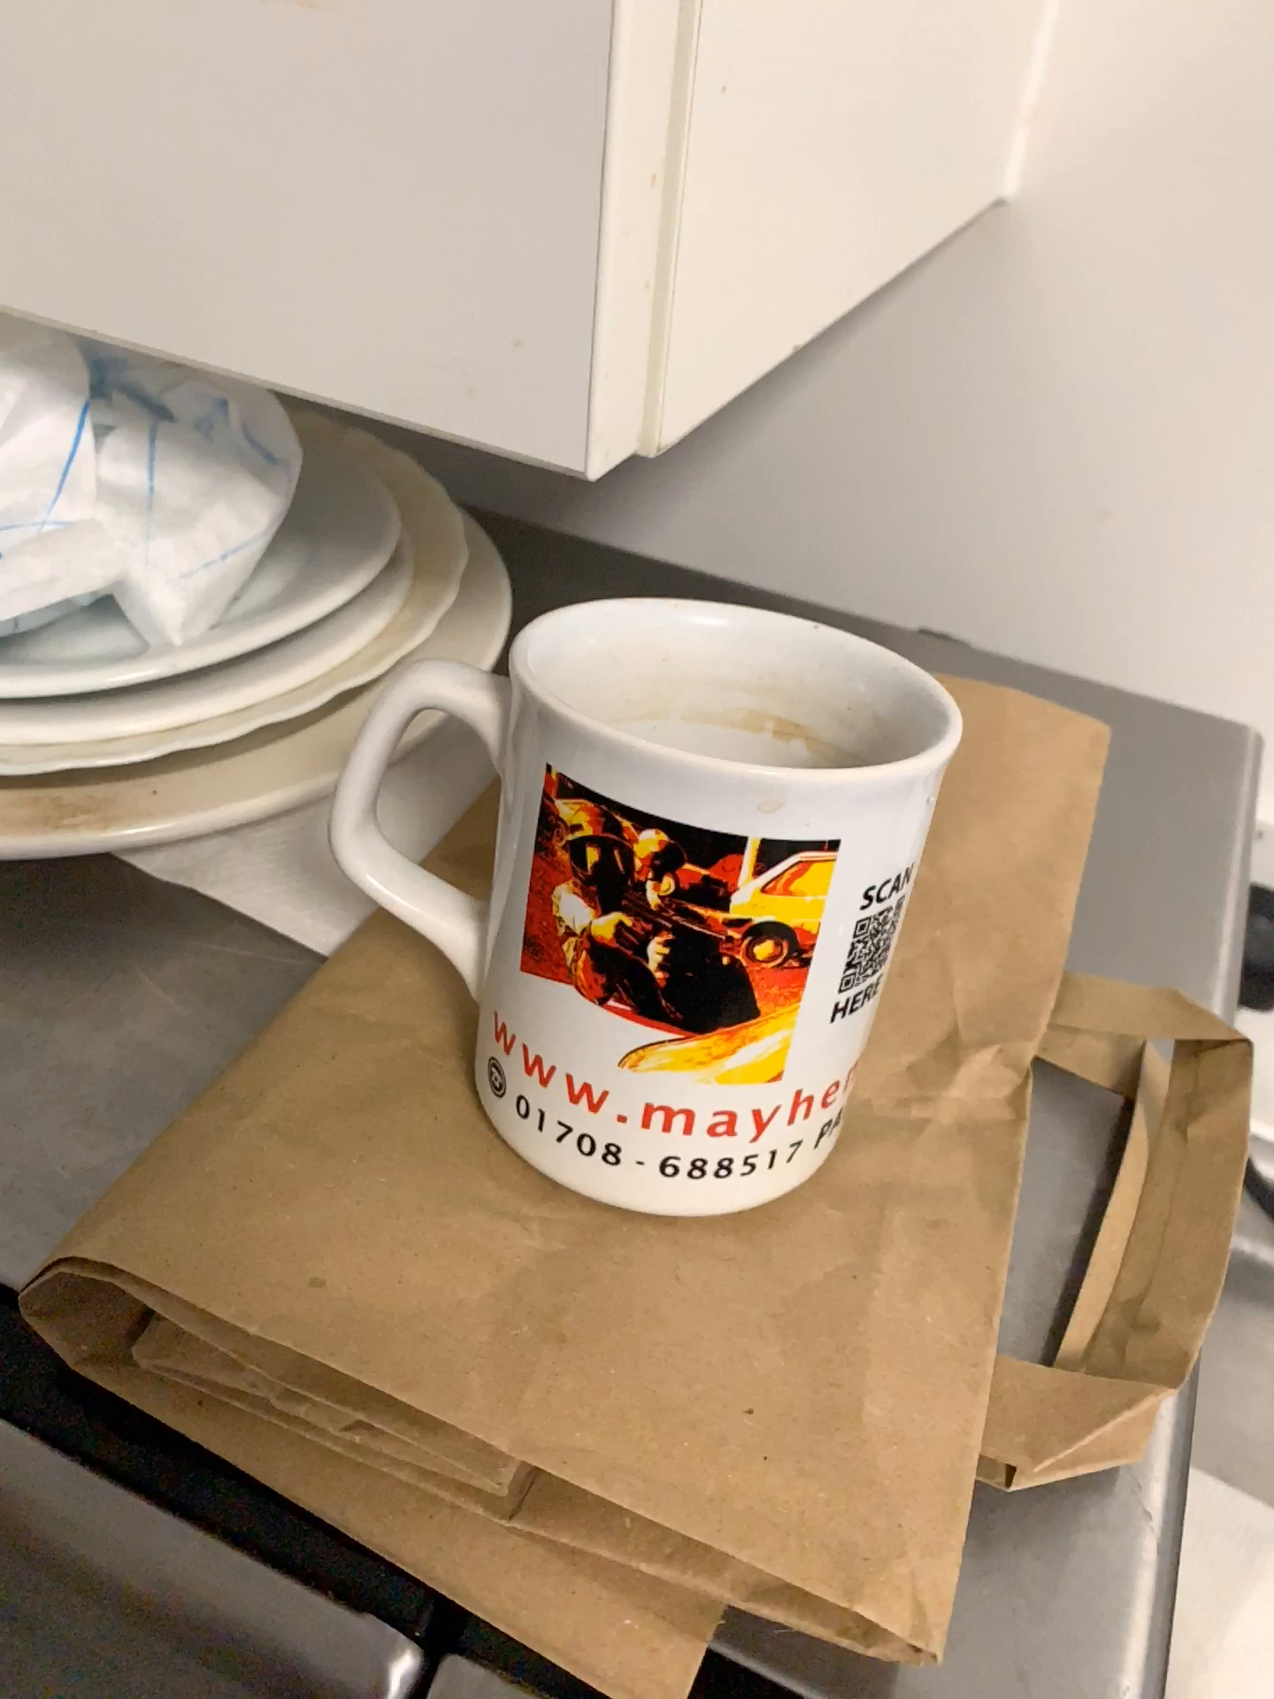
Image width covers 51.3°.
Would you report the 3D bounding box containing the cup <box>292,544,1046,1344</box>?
[{"bbox_3d":[0.006,0.009,0.235,0.100,0.088,0.078,18,29,15],"label":"cup"}]
